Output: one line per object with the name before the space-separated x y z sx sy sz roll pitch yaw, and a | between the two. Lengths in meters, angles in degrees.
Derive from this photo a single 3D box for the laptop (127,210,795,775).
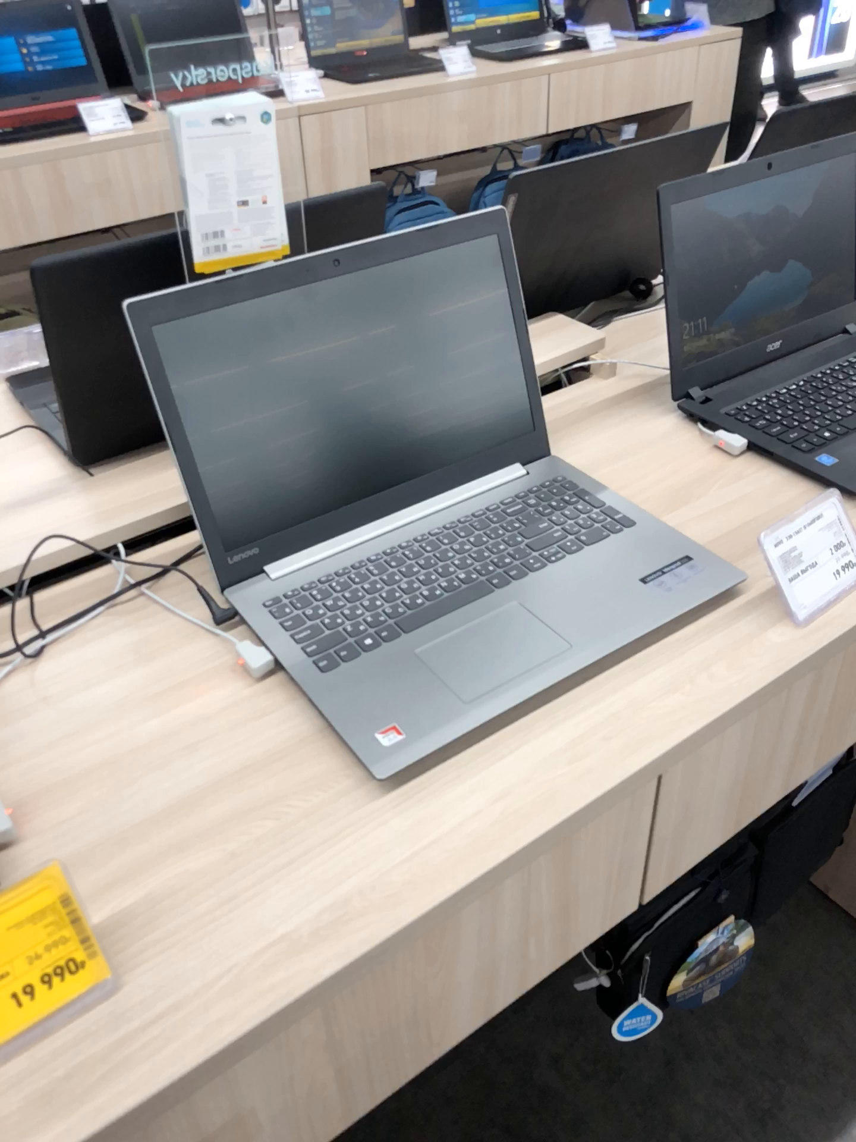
laptop | 0.020 -0.105 0.780 0.380 0.235 0.344 -24 42 -27
